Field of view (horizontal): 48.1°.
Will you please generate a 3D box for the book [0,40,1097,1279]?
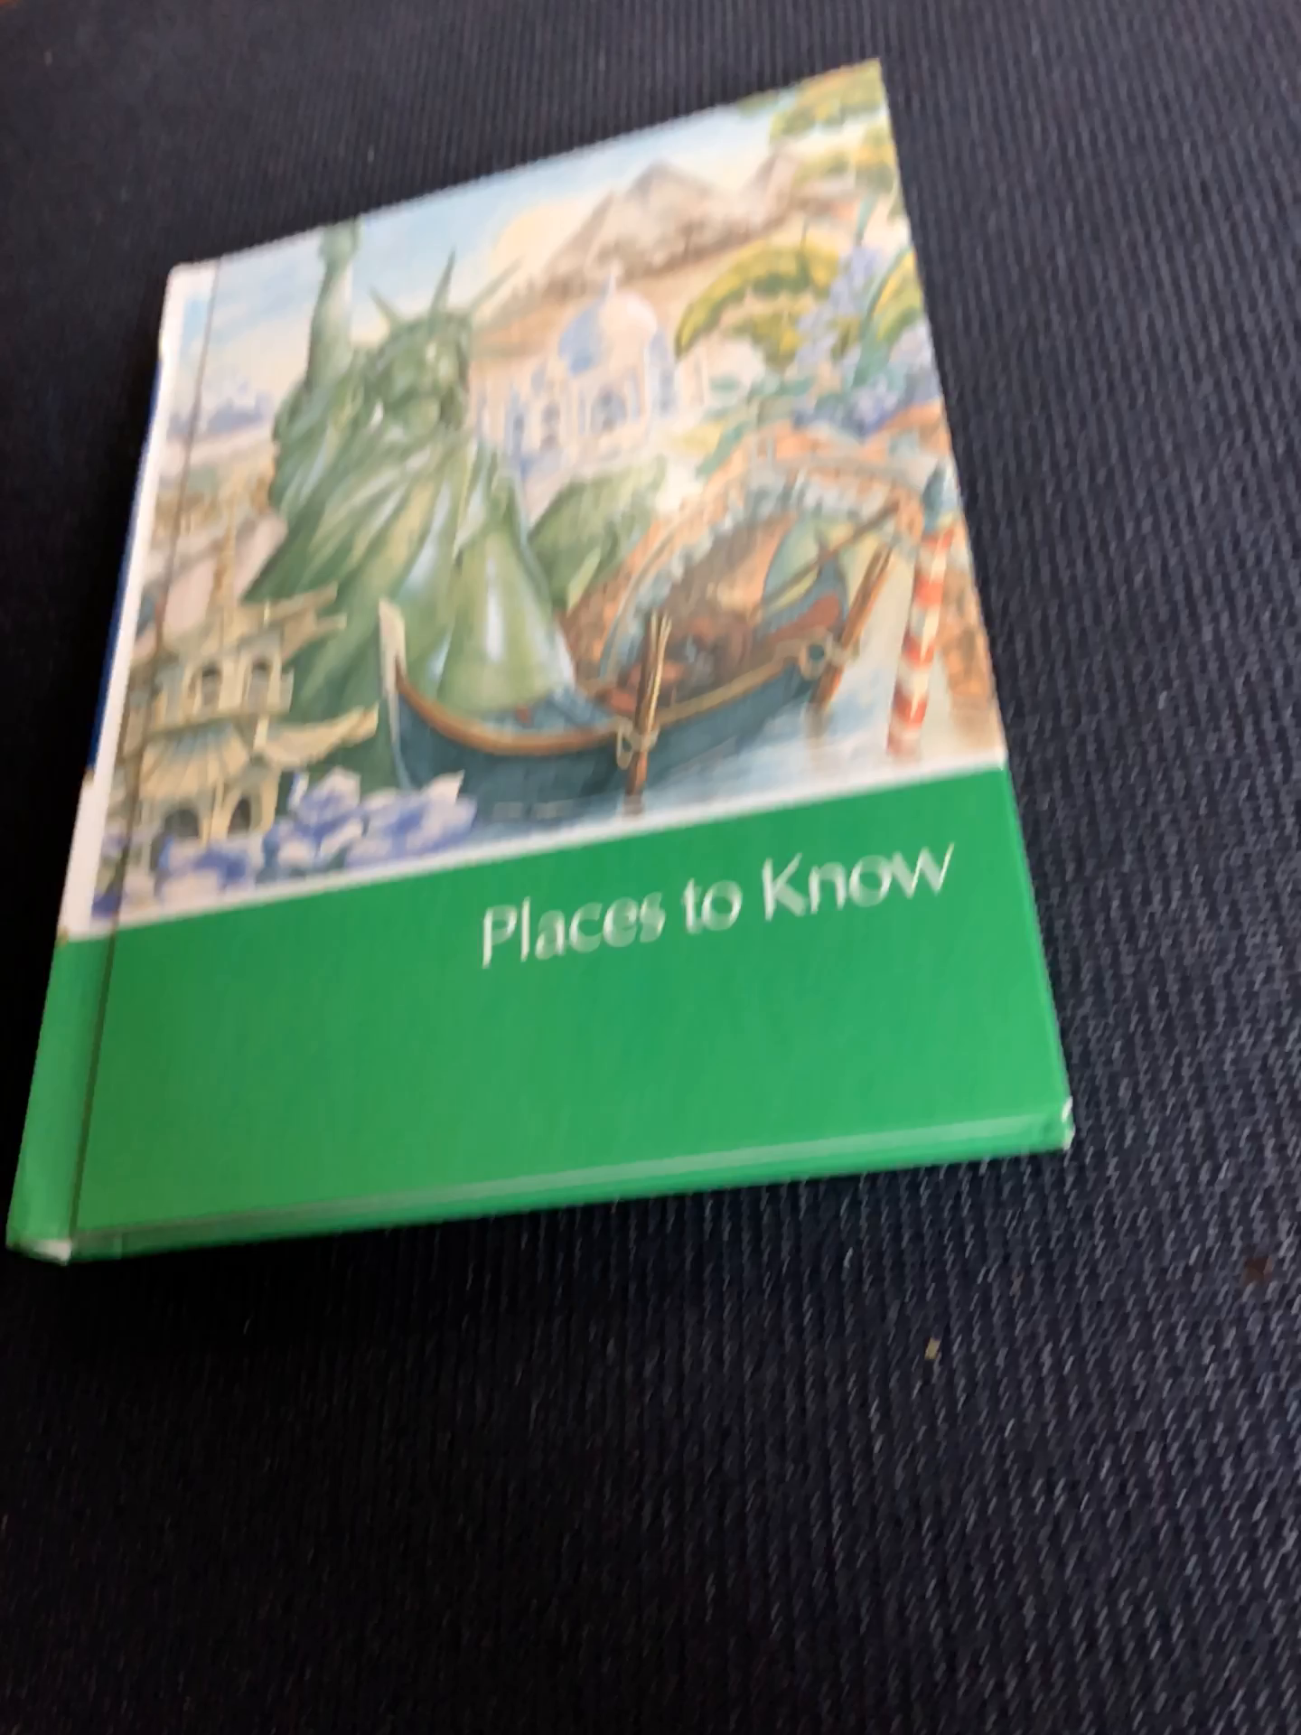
[{"bbox_3d":[-0.029,-0.054,0.301,0.190,0.030,0.250,-10,60,13],"label":"book"}]
